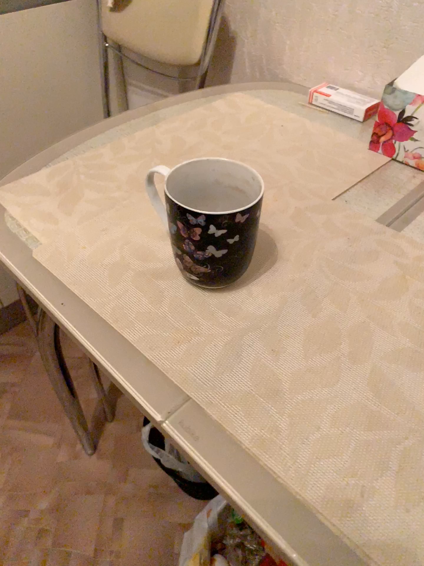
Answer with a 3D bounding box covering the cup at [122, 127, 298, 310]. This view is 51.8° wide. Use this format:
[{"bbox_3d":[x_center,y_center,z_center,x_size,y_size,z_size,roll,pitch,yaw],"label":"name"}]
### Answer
[{"bbox_3d":[-0.004,-0.063,0.399,0.126,0.097,0.082,34,54,30],"label":"cup"}]
